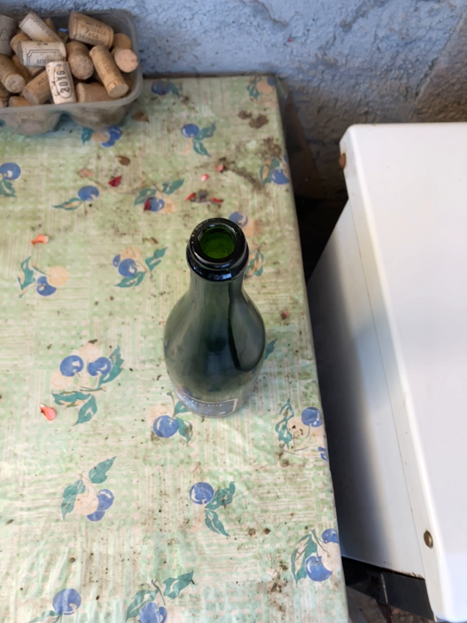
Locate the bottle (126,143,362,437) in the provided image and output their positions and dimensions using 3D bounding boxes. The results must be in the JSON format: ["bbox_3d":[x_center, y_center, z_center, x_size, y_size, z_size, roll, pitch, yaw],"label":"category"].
[{"bbox_3d":[-0.004,0.018,0.406,0.080,0.309,0.090,-40,77,-16],"label":"bottle"}]
